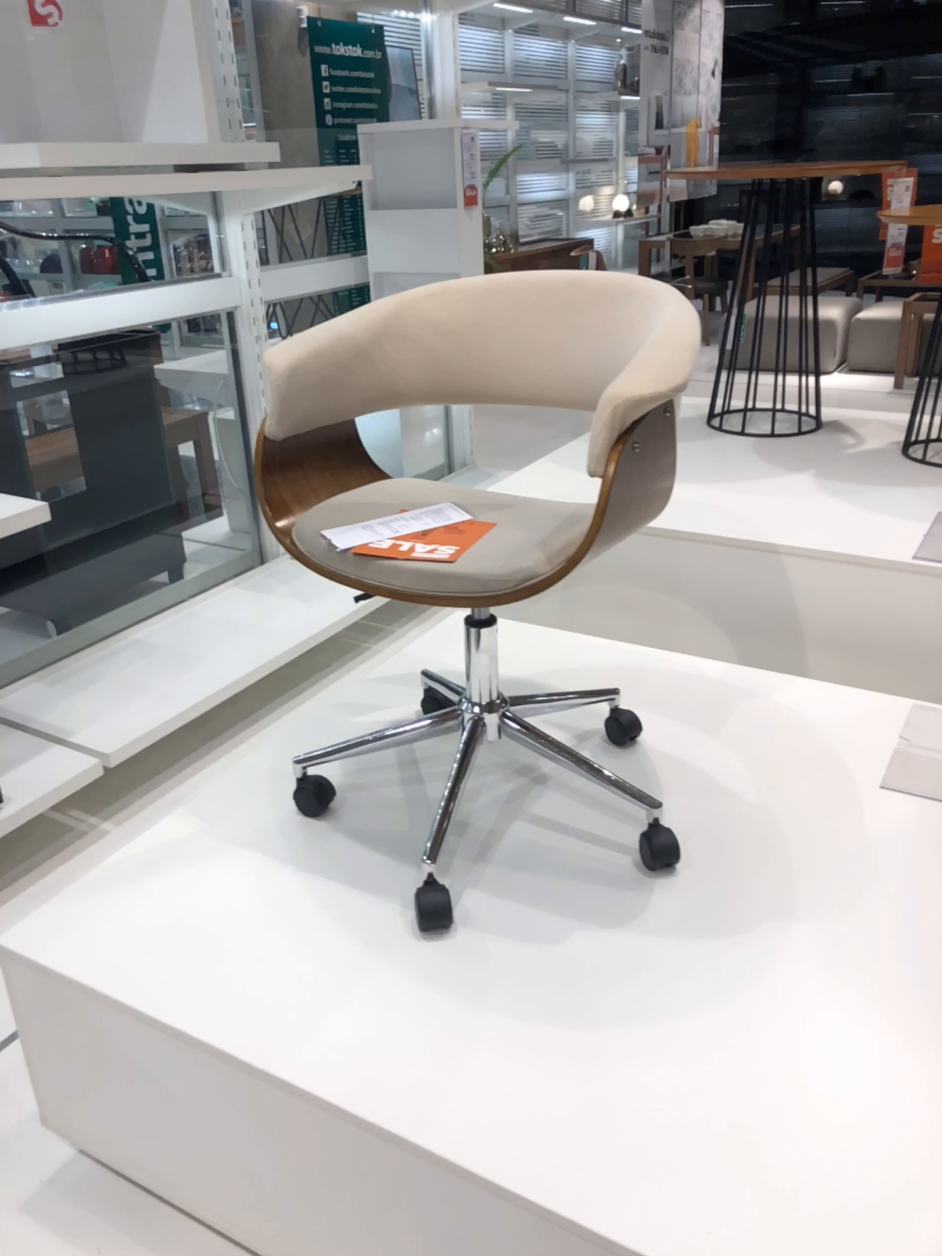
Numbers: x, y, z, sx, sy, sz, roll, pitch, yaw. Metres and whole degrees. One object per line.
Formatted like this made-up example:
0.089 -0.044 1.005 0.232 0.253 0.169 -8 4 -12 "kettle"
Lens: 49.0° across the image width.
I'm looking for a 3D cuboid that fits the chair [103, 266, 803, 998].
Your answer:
0.033 -0.091 1.441 0.631 0.725 0.674 10 26 28 "chair"
